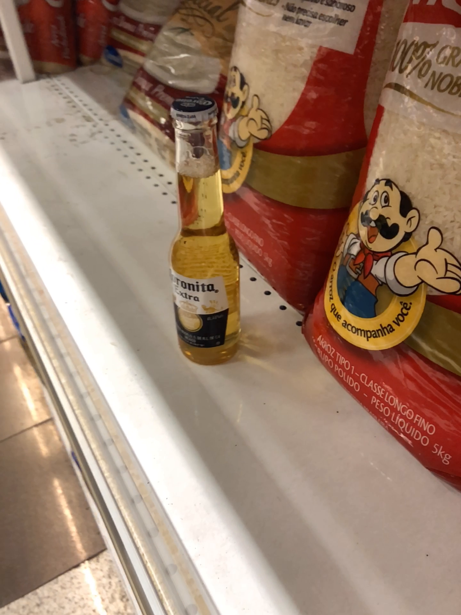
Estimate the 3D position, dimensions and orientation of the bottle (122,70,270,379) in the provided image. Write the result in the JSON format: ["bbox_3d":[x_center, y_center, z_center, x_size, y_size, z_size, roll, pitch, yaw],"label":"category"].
[{"bbox_3d":[-0.015,-0.047,0.357,0.060,0.198,0.060,-2,42,1],"label":"bottle"}]
